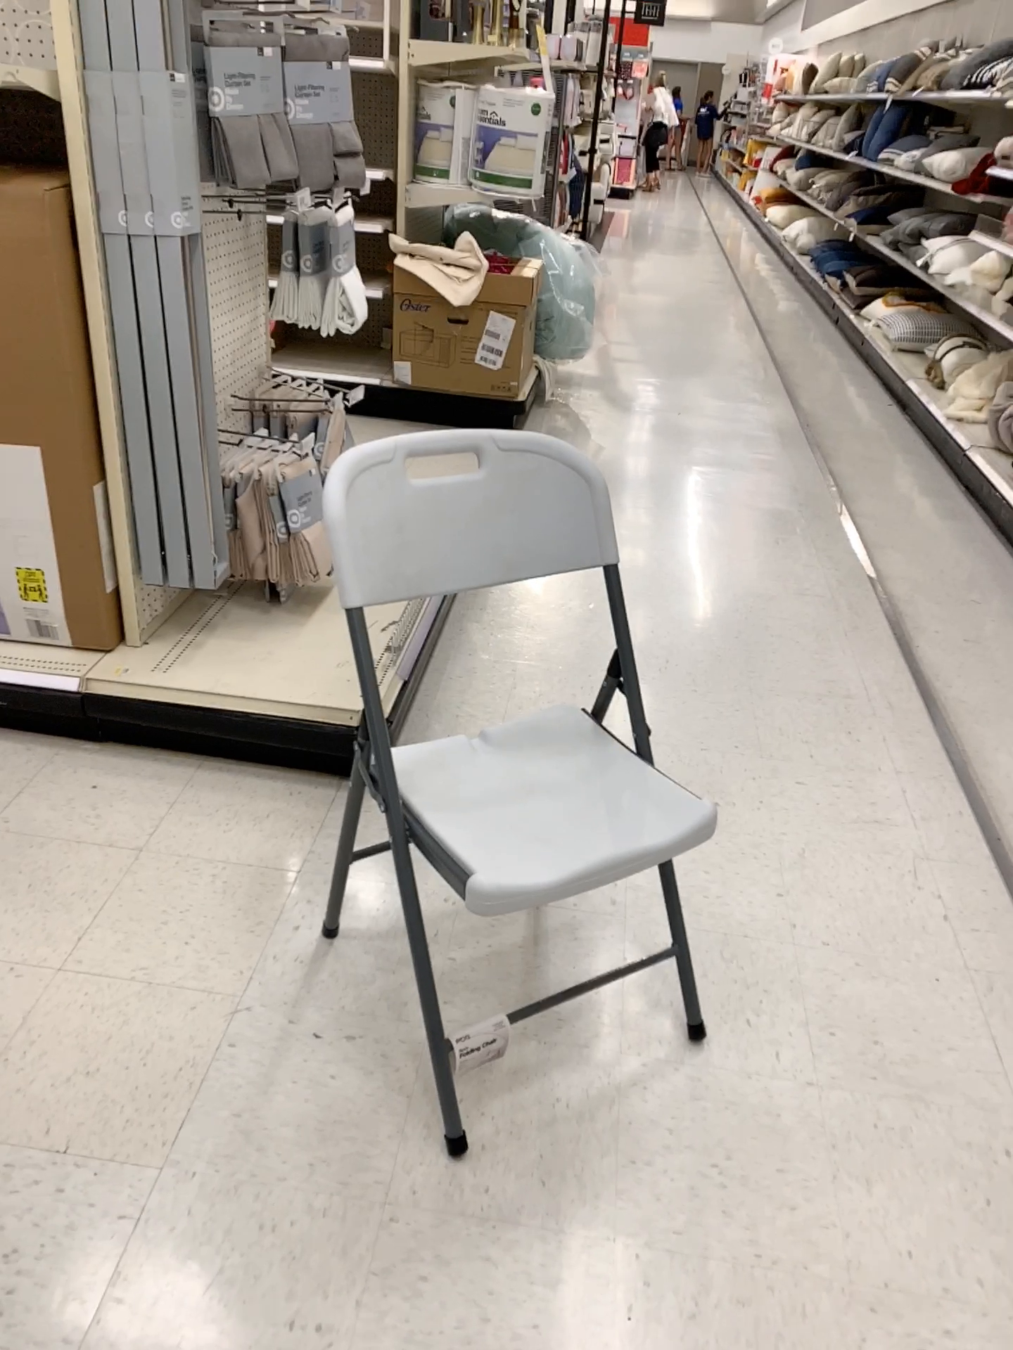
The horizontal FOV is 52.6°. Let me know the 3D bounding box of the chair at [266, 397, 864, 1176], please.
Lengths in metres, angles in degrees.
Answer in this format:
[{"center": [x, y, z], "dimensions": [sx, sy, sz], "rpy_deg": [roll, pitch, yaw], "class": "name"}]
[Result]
[{"center": [0.017, 0.113, 1.488], "dimensions": [0.521, 0.846, 0.572], "rpy_deg": [-13, 34, -29], "class": "chair"}]
